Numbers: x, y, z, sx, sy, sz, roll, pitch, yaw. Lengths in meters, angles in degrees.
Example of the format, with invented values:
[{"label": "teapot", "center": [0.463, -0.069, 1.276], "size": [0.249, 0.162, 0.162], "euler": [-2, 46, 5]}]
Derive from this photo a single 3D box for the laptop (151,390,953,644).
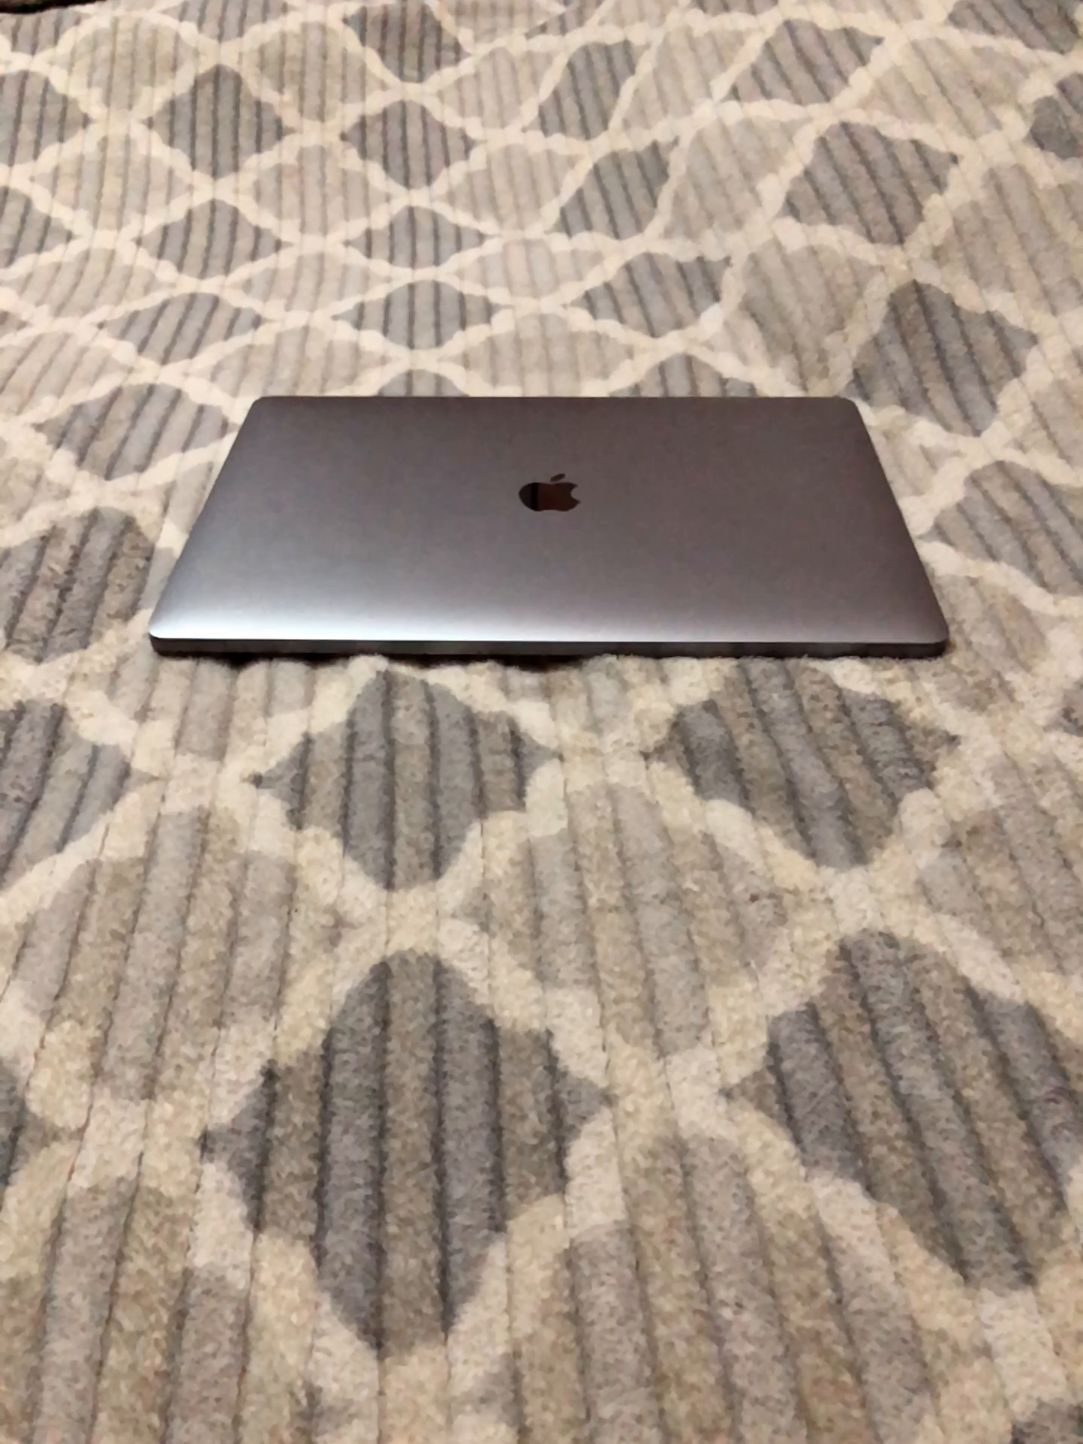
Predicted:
[{"label": "laptop", "center": [0.004, -0.118, 0.630], "size": [0.358, 0.007, 0.247], "euler": [1, 39, 2]}]
